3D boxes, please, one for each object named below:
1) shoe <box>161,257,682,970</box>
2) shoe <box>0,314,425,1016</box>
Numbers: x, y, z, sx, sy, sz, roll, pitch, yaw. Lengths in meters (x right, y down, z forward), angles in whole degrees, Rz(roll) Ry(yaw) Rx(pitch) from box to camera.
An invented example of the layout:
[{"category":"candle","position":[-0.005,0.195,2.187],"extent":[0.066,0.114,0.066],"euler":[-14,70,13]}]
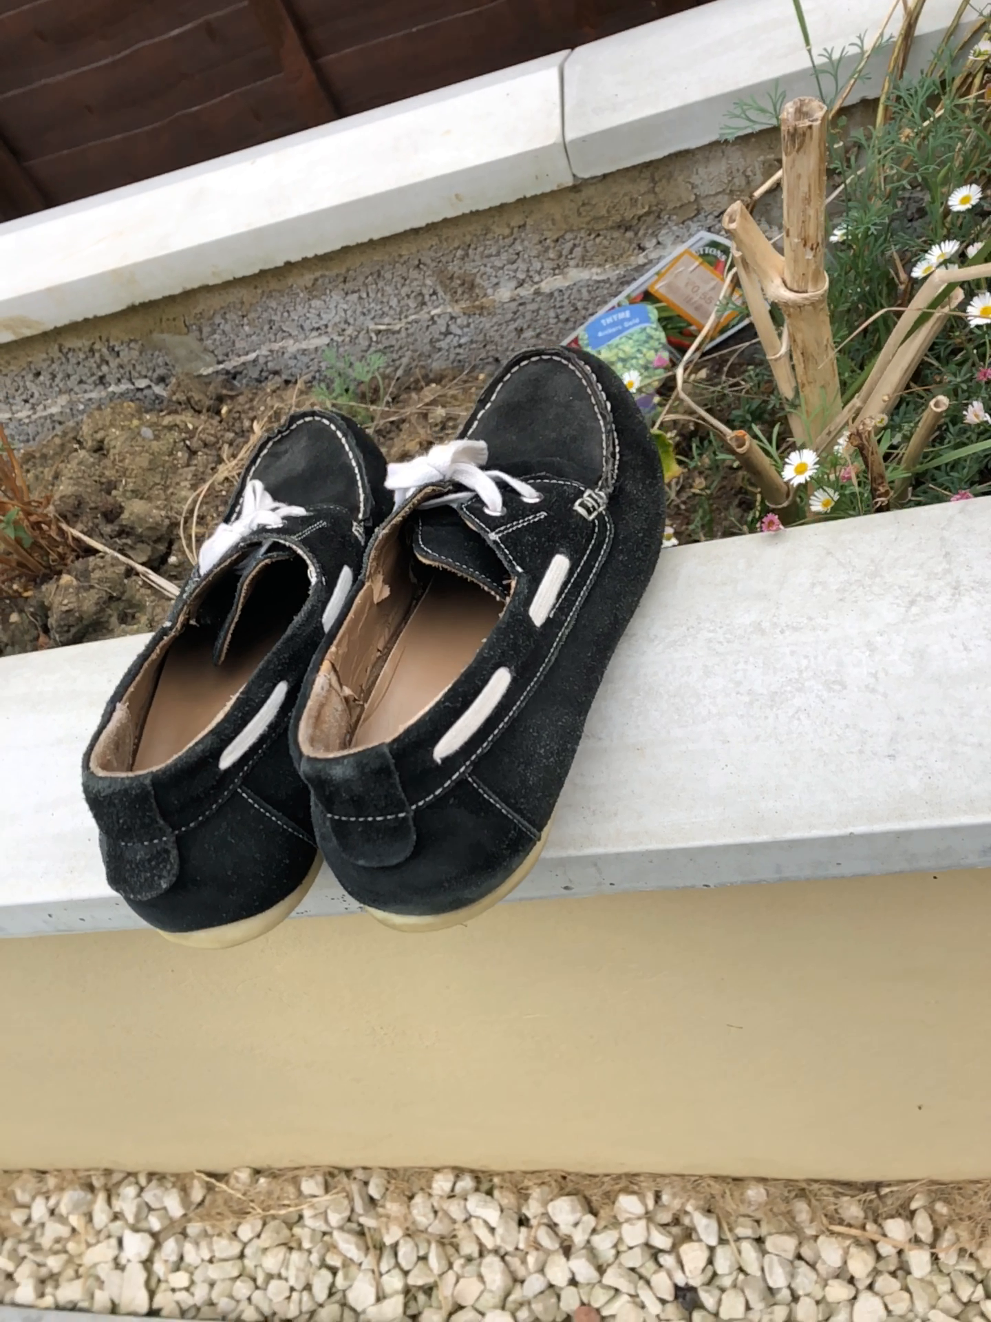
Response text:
[{"category":"shoe","position":[-0.003,-0.039,0.432],"extent":[0.110,0.089,0.302],"euler":[-4,43,20]},{"category":"shoe","position":[-0.114,-0.021,0.468],"extent":[0.120,0.089,0.312],"euler":[-13,41,14]}]
